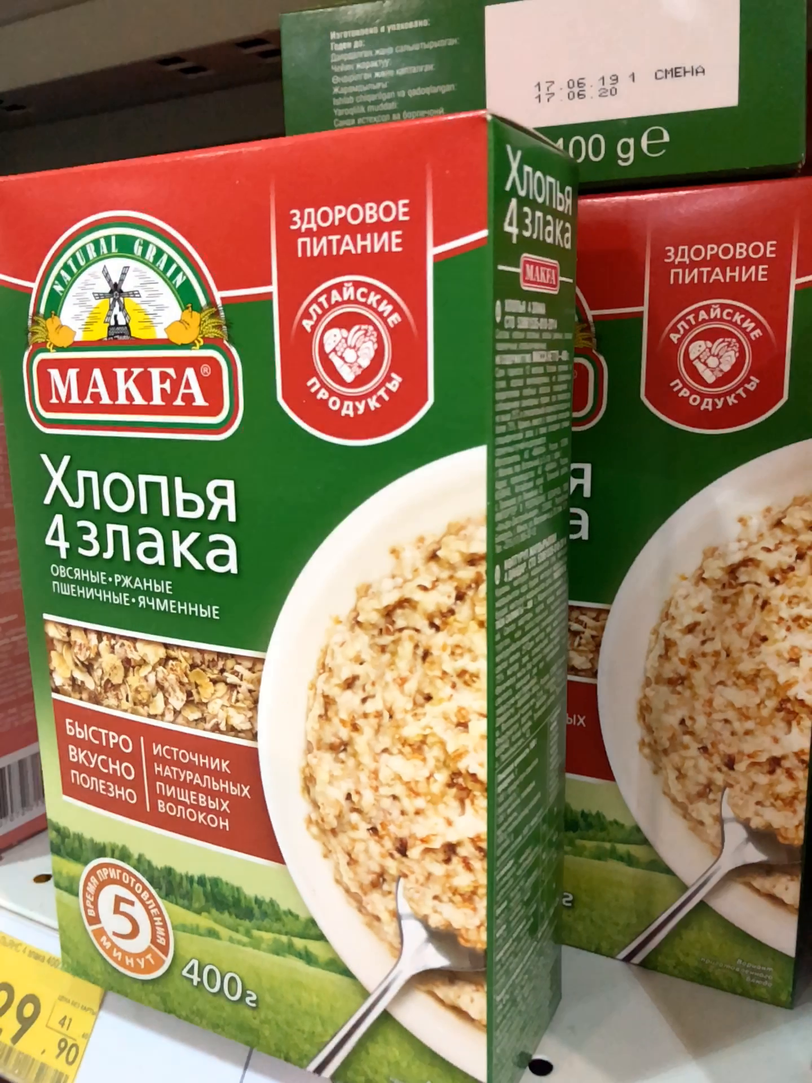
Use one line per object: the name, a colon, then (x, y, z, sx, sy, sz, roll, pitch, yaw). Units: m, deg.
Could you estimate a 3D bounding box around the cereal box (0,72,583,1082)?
cereal box: (-0.034, 0.014, 0.224, 0.140, 0.209, 0.050, 5, 13, 27)
